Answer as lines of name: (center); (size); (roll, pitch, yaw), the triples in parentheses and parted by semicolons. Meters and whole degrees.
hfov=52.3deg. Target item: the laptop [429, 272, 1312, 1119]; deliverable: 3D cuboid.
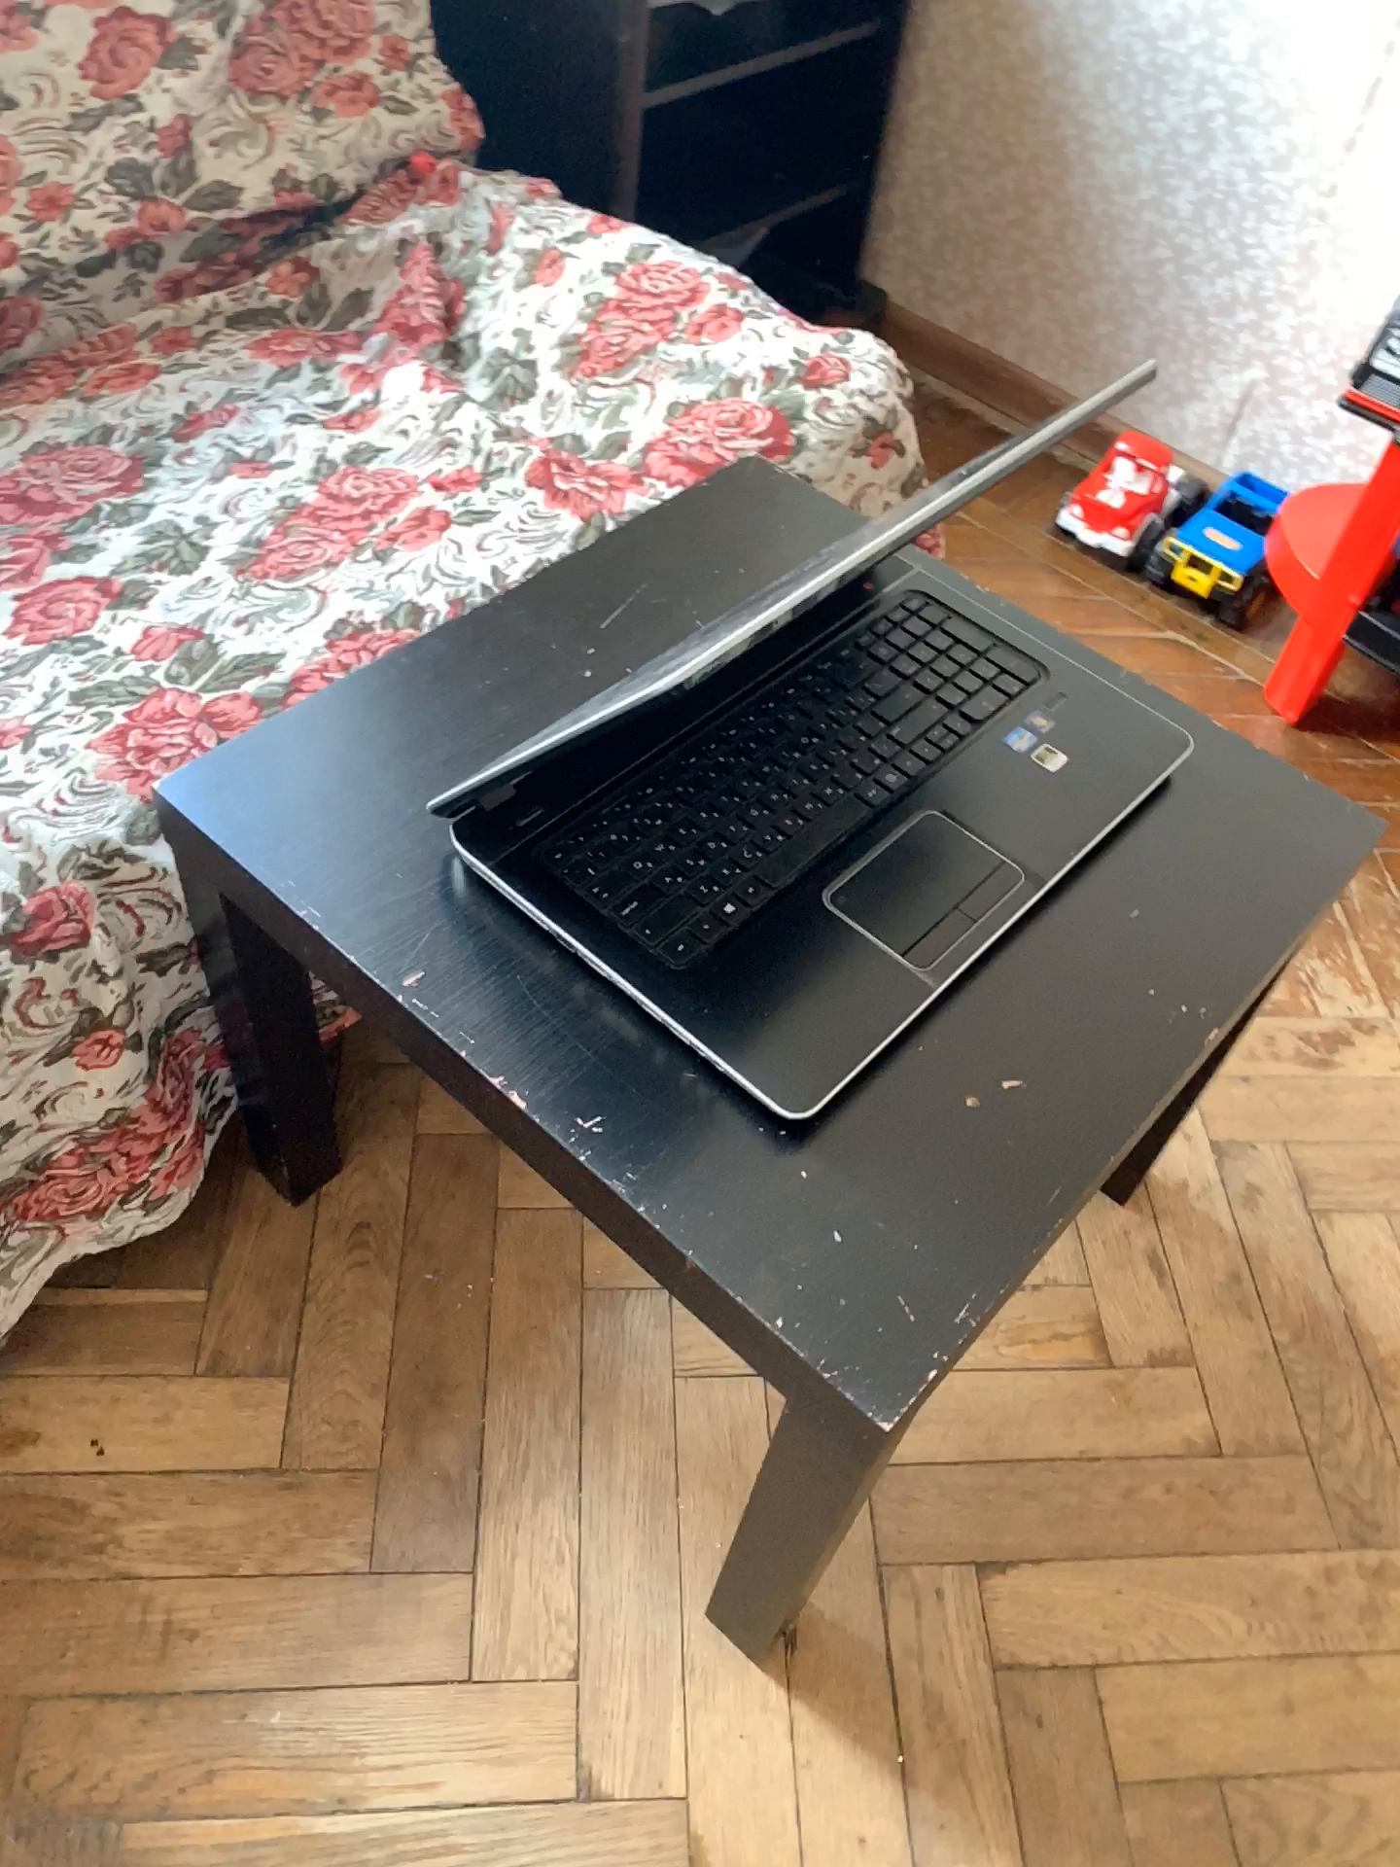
laptop: (0.094, -0.154, 0.785); (0.257, 0.201, 0.406); (37, 55, 21)
